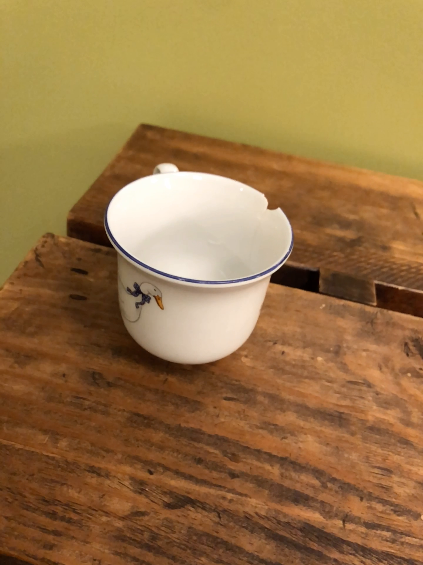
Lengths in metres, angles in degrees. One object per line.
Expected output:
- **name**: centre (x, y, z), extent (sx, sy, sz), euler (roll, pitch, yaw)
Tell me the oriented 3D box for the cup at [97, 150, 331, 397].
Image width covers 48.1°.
- **cup**: centre (-0.009, -0.011, 0.240), extent (0.090, 0.066, 0.108), euler (-2, 41, -11)
